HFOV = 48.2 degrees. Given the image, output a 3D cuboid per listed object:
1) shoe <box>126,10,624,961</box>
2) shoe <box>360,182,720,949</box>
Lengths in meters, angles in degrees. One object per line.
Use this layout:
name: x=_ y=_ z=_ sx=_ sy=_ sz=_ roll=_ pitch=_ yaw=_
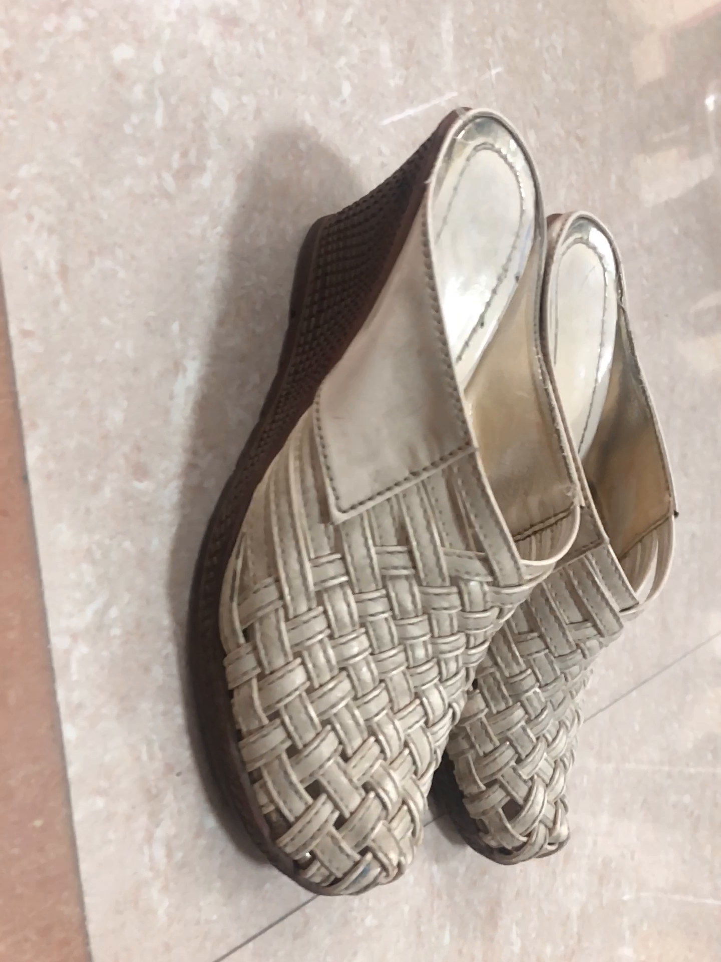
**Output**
shoe: x=0.011 y=0.007 z=0.238 sx=0.101 sy=0.084 sz=0.225 roll=18 pitch=69 yaw=-45
shoe: x=0.074 y=0.026 z=0.298 sx=0.101 sy=0.084 sz=0.221 roll=3 pitch=80 yaw=-48
